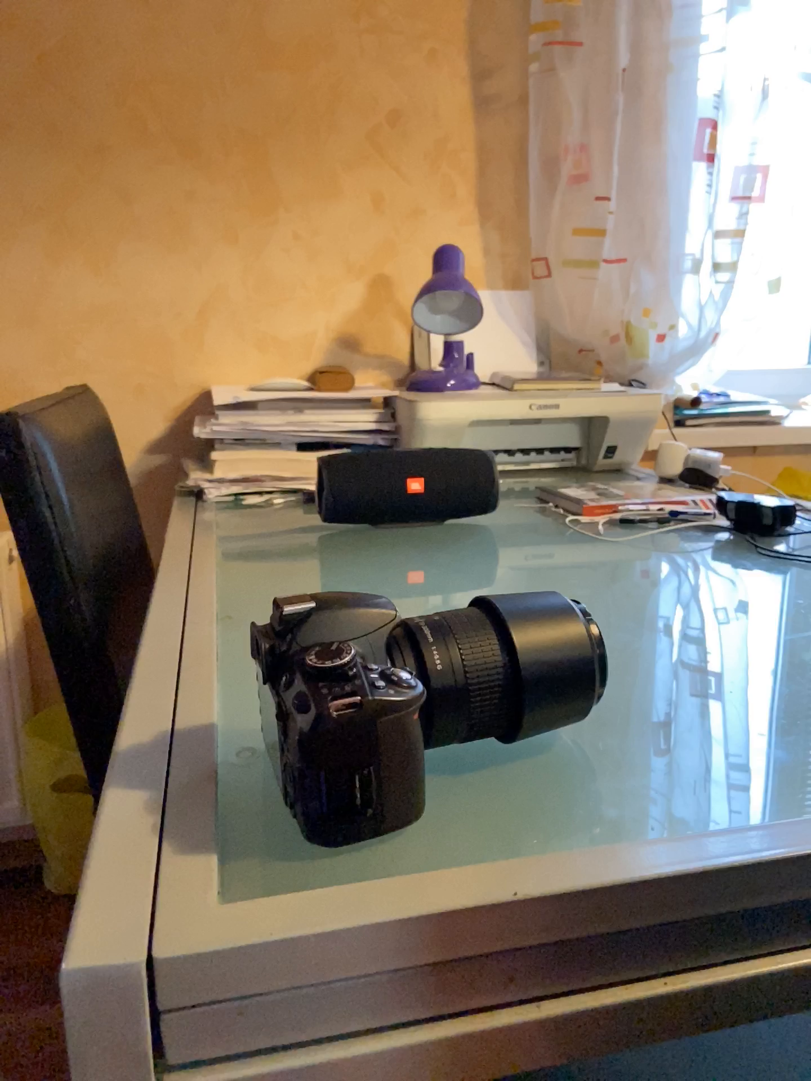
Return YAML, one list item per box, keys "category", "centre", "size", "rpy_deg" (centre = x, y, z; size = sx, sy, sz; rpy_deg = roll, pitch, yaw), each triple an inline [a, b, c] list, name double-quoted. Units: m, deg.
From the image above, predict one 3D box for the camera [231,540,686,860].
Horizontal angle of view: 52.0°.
- category: "camera"
  centre: [0.020, 0.071, 0.457]
  size: [0.209, 0.100, 0.135]
  rpy_deg: [-5, 14, -18]
